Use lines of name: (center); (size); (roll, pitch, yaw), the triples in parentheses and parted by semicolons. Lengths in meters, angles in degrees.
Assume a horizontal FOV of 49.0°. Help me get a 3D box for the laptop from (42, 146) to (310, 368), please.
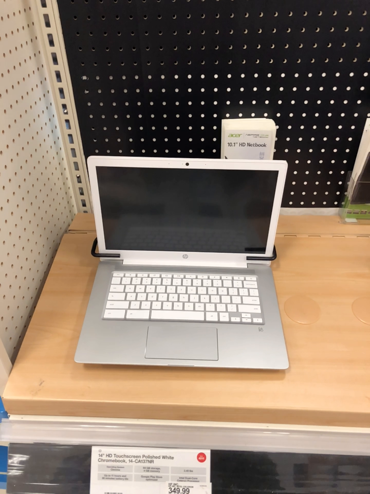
laptop: (-0.006, 0.005, 0.665); (0.333, 0.198, 0.281); (0, 41, 0)
